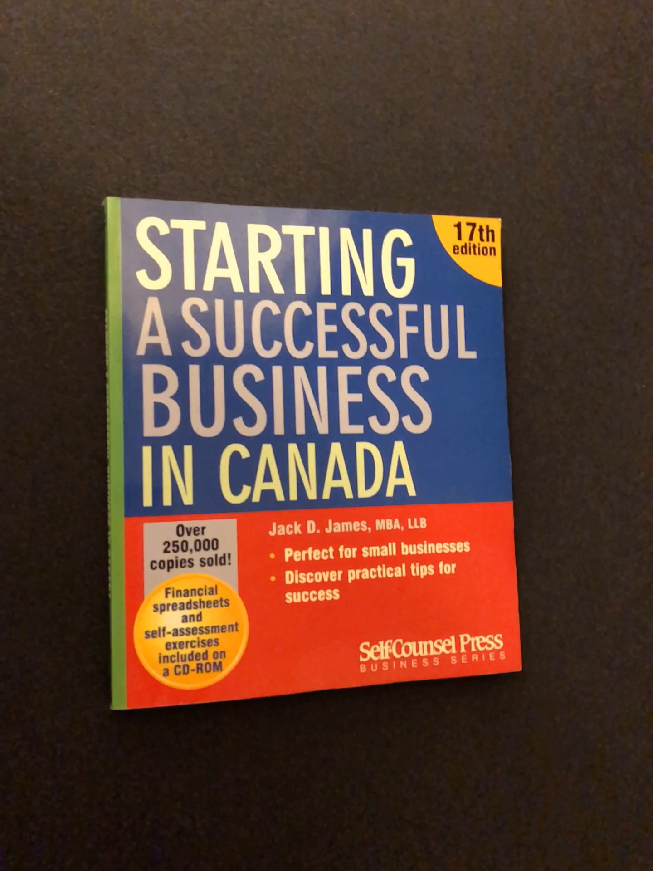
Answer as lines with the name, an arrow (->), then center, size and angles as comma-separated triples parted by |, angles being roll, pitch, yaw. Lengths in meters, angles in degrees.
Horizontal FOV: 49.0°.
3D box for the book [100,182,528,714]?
book -> -0.006, 0.003, 0.375 | 0.210, 0.040, 0.247 | 0, 85, -13
